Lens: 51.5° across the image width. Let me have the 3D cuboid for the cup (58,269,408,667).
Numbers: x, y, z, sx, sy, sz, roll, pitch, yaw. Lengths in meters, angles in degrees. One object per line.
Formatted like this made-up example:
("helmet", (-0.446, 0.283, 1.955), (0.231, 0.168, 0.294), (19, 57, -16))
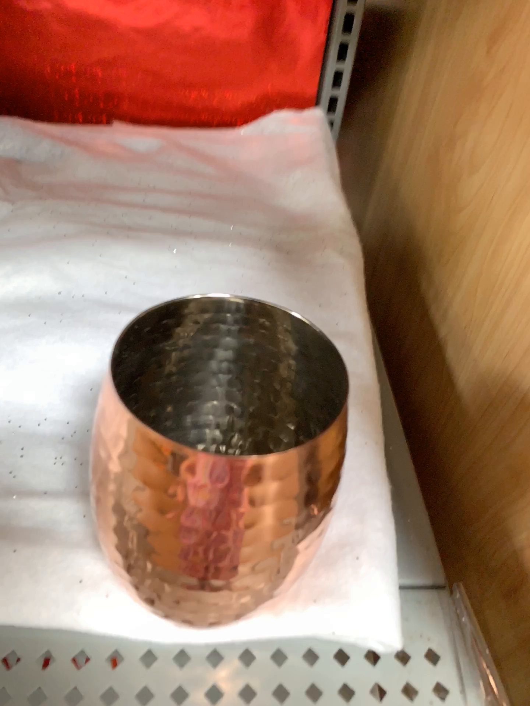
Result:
("cup", (-0.011, 0.042, 0.187), (0.078, 0.104, 0.080), (5, 43, -4))
